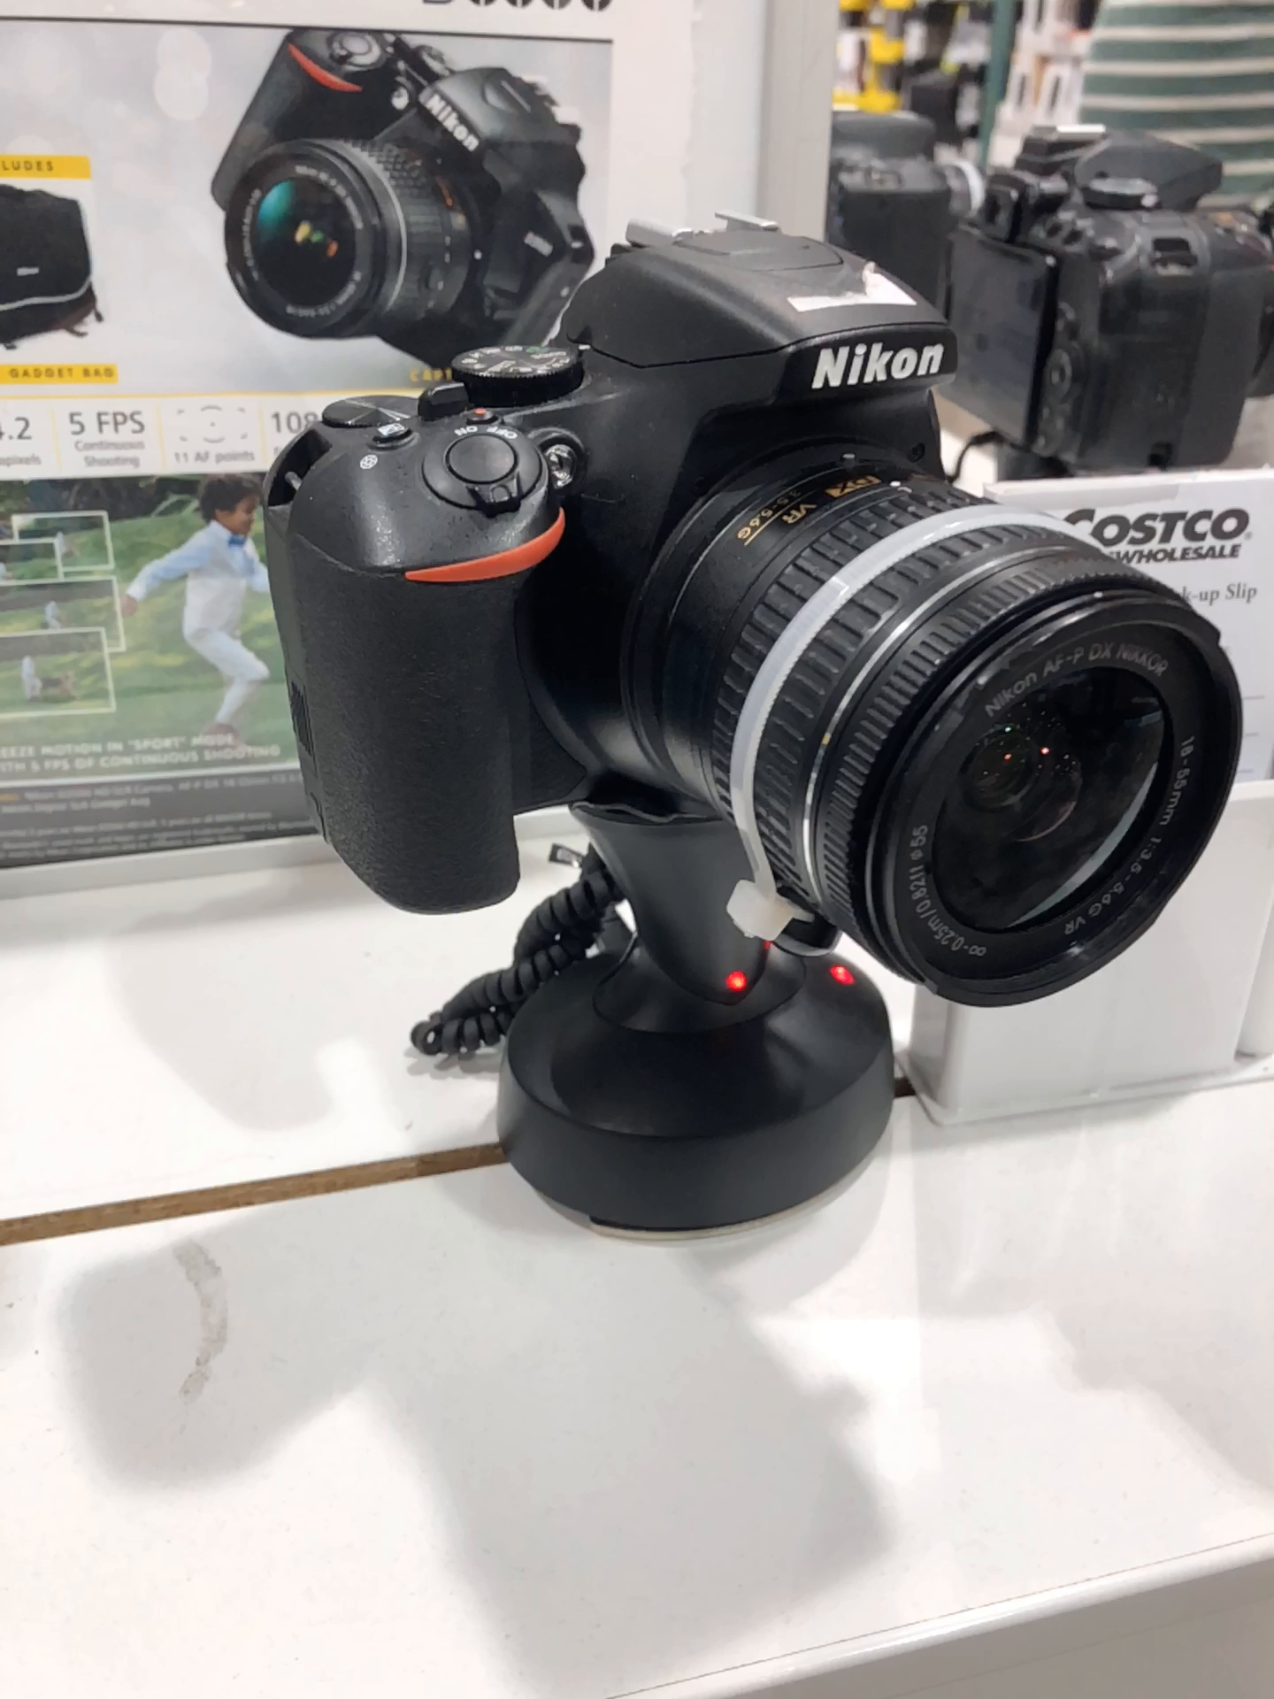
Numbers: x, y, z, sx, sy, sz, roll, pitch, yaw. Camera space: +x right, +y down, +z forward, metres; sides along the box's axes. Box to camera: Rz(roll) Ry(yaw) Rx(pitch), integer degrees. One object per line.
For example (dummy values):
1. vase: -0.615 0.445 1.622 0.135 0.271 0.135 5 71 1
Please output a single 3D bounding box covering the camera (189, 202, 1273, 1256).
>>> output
1. camera: 0.023 -0.038 0.222 0.140 0.100 0.120 -15 33 -26
